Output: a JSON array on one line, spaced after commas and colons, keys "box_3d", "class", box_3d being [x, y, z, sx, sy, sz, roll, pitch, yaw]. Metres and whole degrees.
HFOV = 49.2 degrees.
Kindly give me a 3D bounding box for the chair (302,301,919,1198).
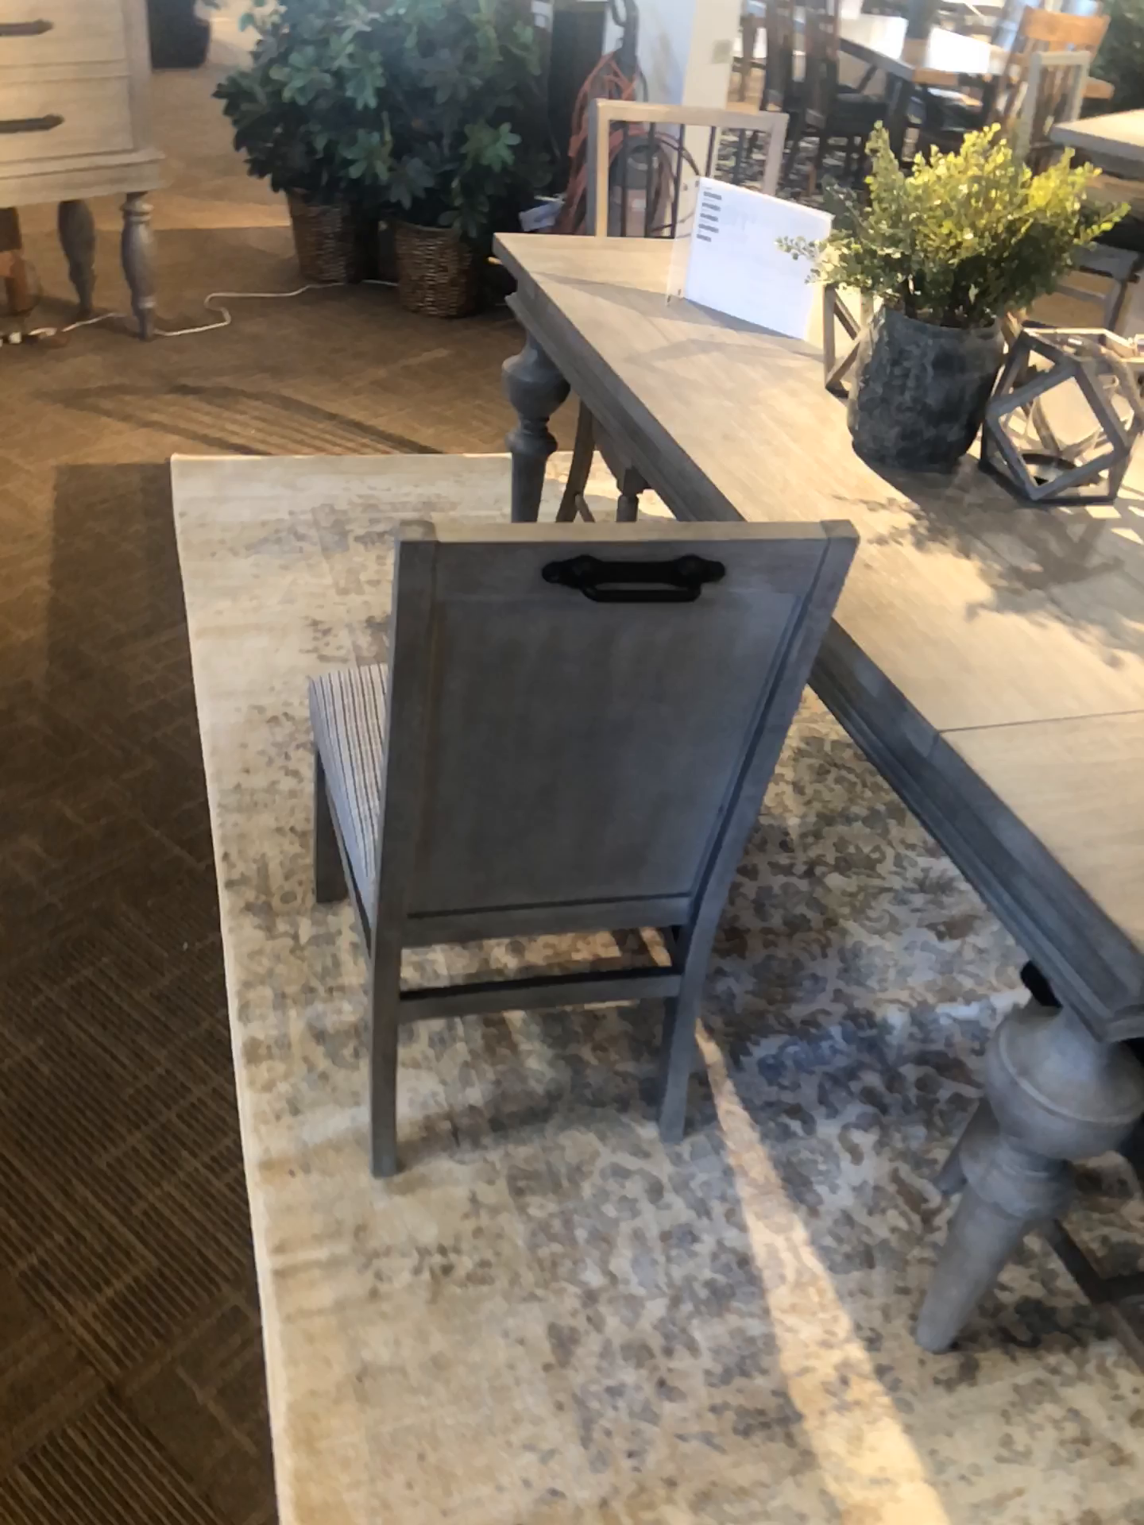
[{"box_3d": [-0.053, -0.031, 1.583, 0.510, 0.866, 0.663, -3, 37, -15], "class": "chair"}]
